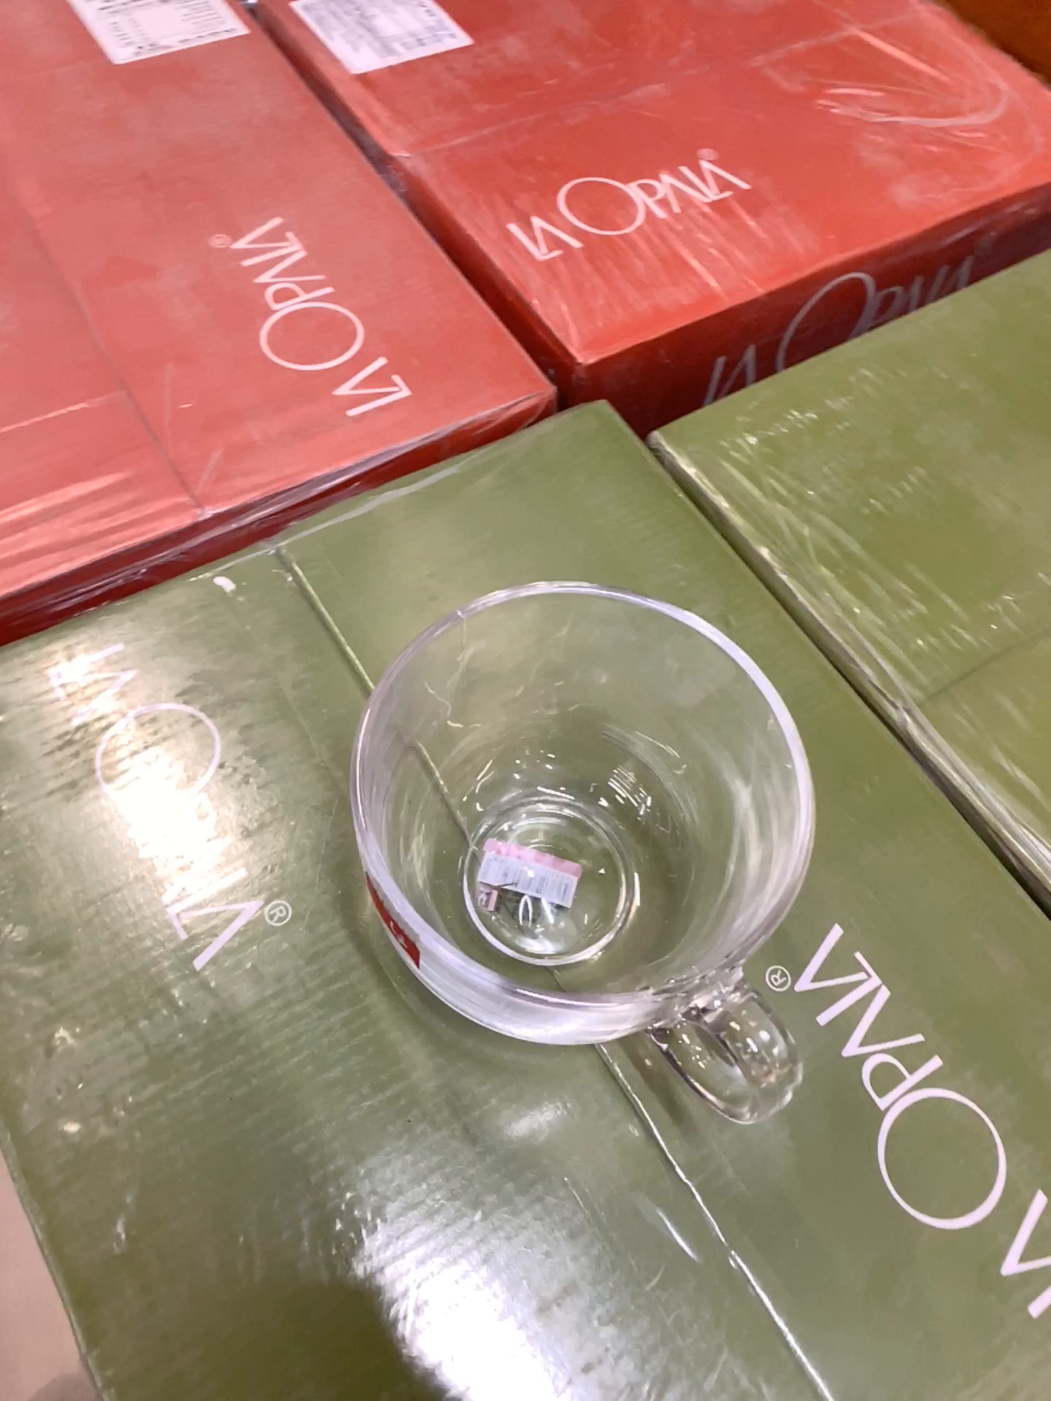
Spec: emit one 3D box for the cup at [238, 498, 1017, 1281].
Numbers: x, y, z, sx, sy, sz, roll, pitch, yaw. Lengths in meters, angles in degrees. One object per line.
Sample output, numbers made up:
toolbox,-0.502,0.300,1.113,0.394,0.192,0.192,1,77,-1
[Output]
cup,0.017,0.046,0.277,0.110,0.090,0.140,-31,68,-22
